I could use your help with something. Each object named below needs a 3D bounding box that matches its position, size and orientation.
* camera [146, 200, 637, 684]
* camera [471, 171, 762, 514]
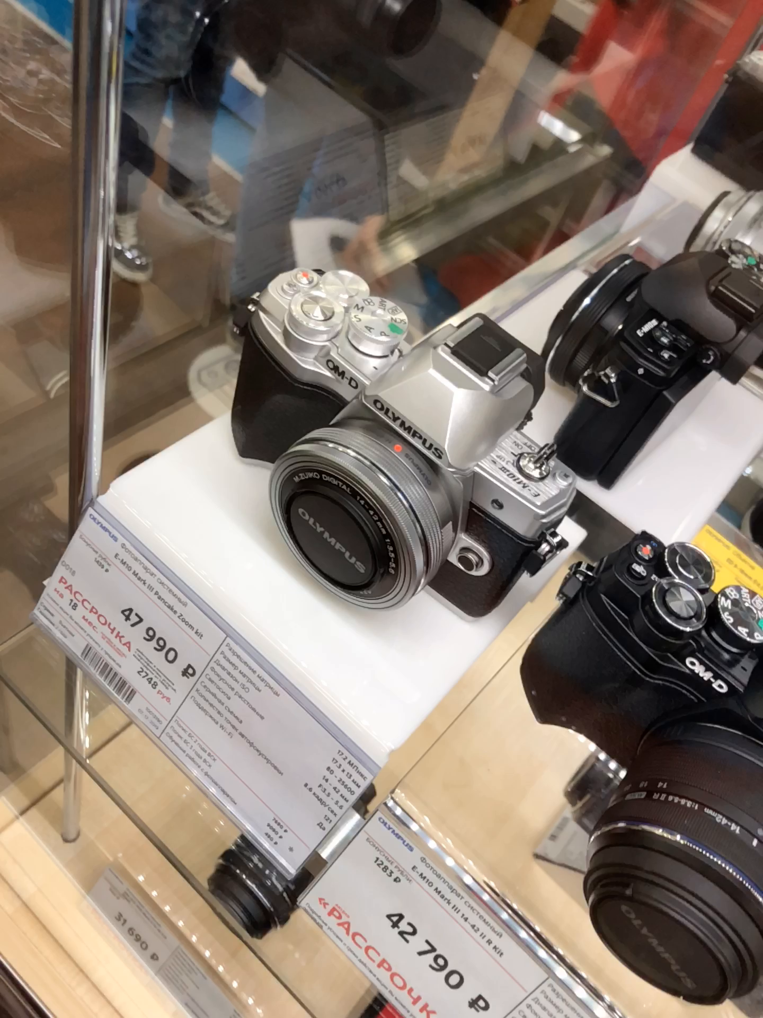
[{"bbox_3d":[-0.001,-0.024,0.266,0.122,0.067,0.073,40,50,13],"label":"camera"},{"bbox_3d":[0.108,-0.070,0.338,0.078,0.068,0.109,41,51,14],"label":"camera"}]
